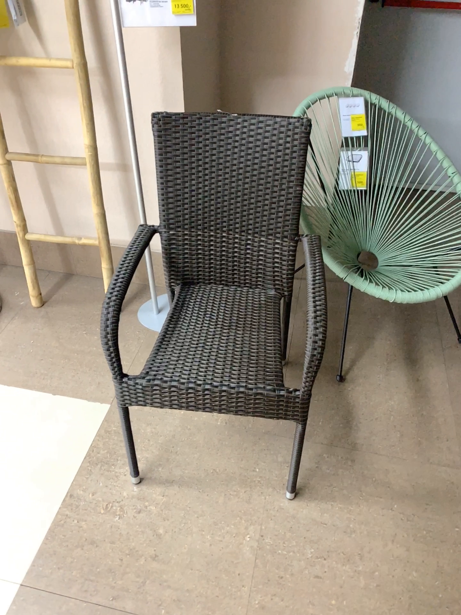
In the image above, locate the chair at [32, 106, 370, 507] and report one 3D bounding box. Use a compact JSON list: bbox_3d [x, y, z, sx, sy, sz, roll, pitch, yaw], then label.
[{"bbox_3d":[-0.025,0.007,1.417,0.620,0.955,0.683,4,40,5],"label":"chair"}]
